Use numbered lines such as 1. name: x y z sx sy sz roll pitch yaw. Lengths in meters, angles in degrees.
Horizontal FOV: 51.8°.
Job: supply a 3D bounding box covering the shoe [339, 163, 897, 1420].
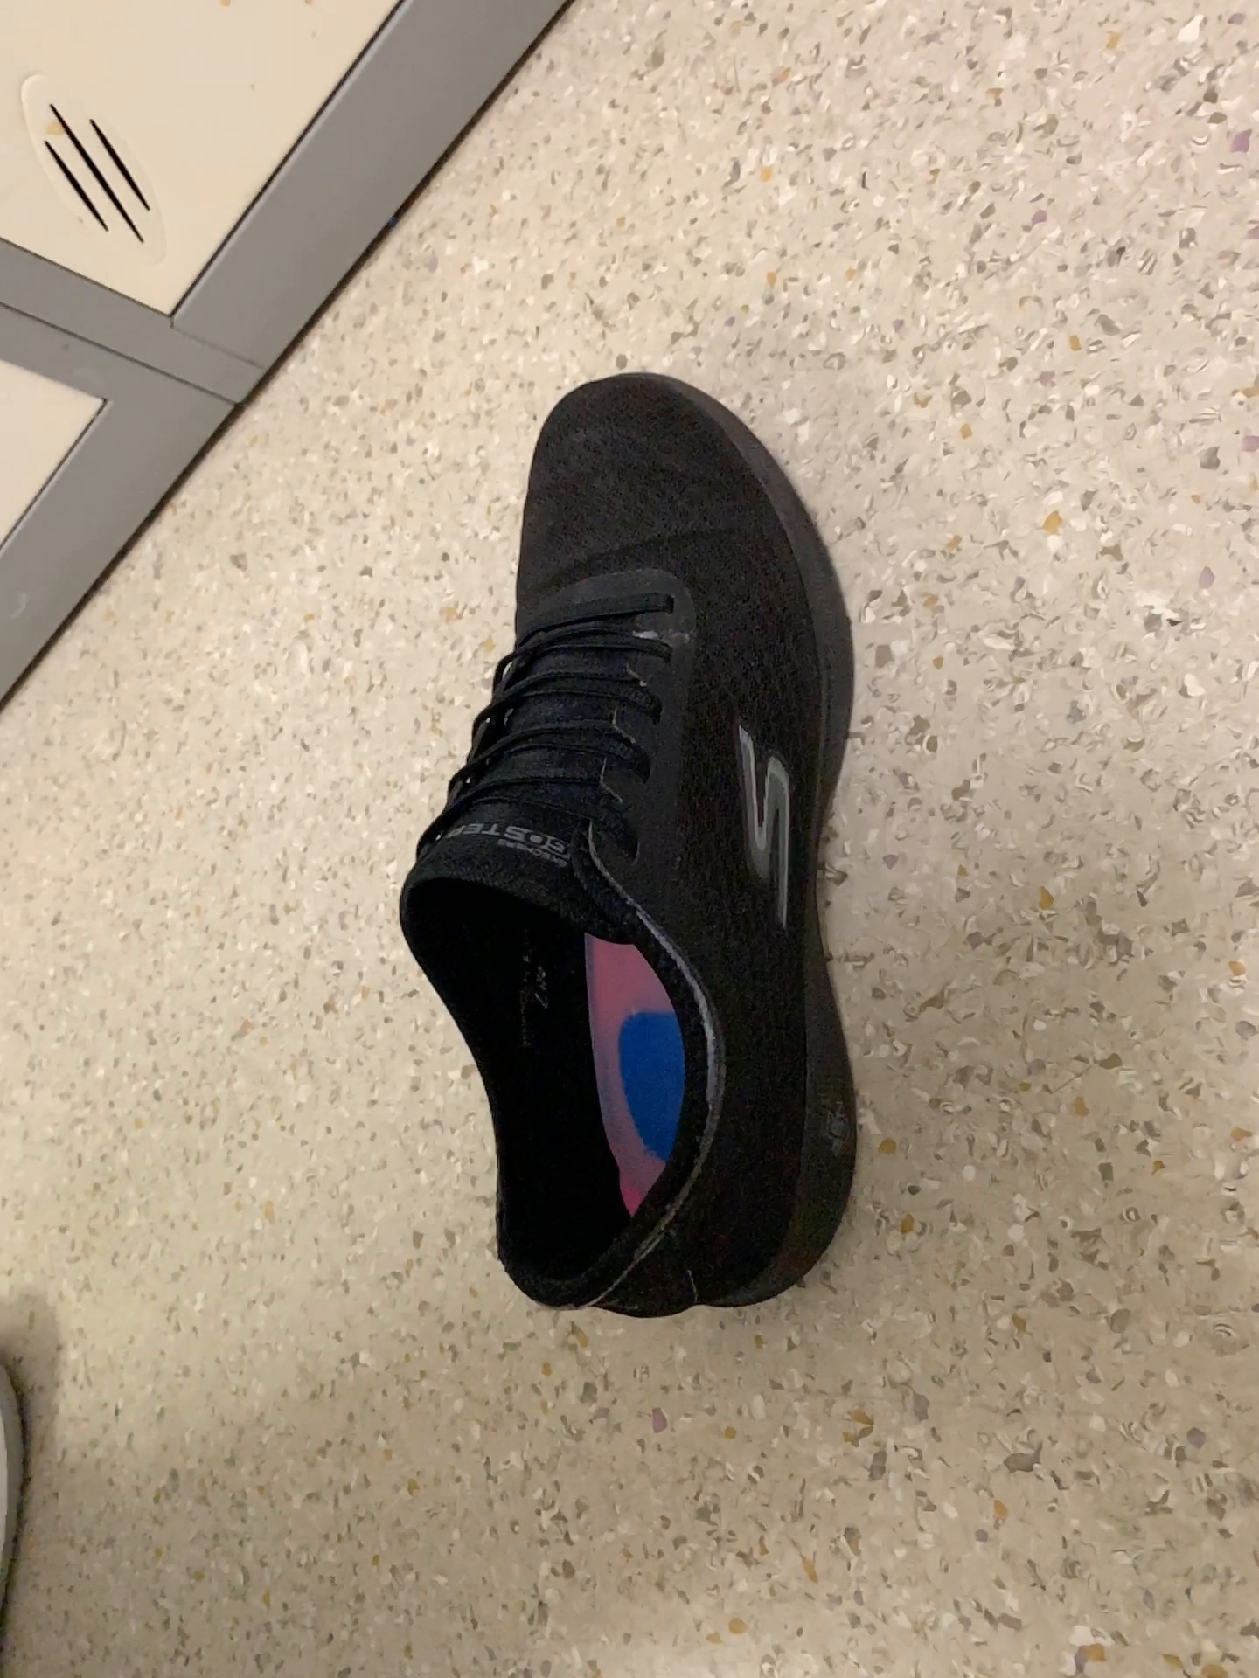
1. shoe: -0.003 -0.010 0.354 0.105 0.099 0.280 -7 79 38
